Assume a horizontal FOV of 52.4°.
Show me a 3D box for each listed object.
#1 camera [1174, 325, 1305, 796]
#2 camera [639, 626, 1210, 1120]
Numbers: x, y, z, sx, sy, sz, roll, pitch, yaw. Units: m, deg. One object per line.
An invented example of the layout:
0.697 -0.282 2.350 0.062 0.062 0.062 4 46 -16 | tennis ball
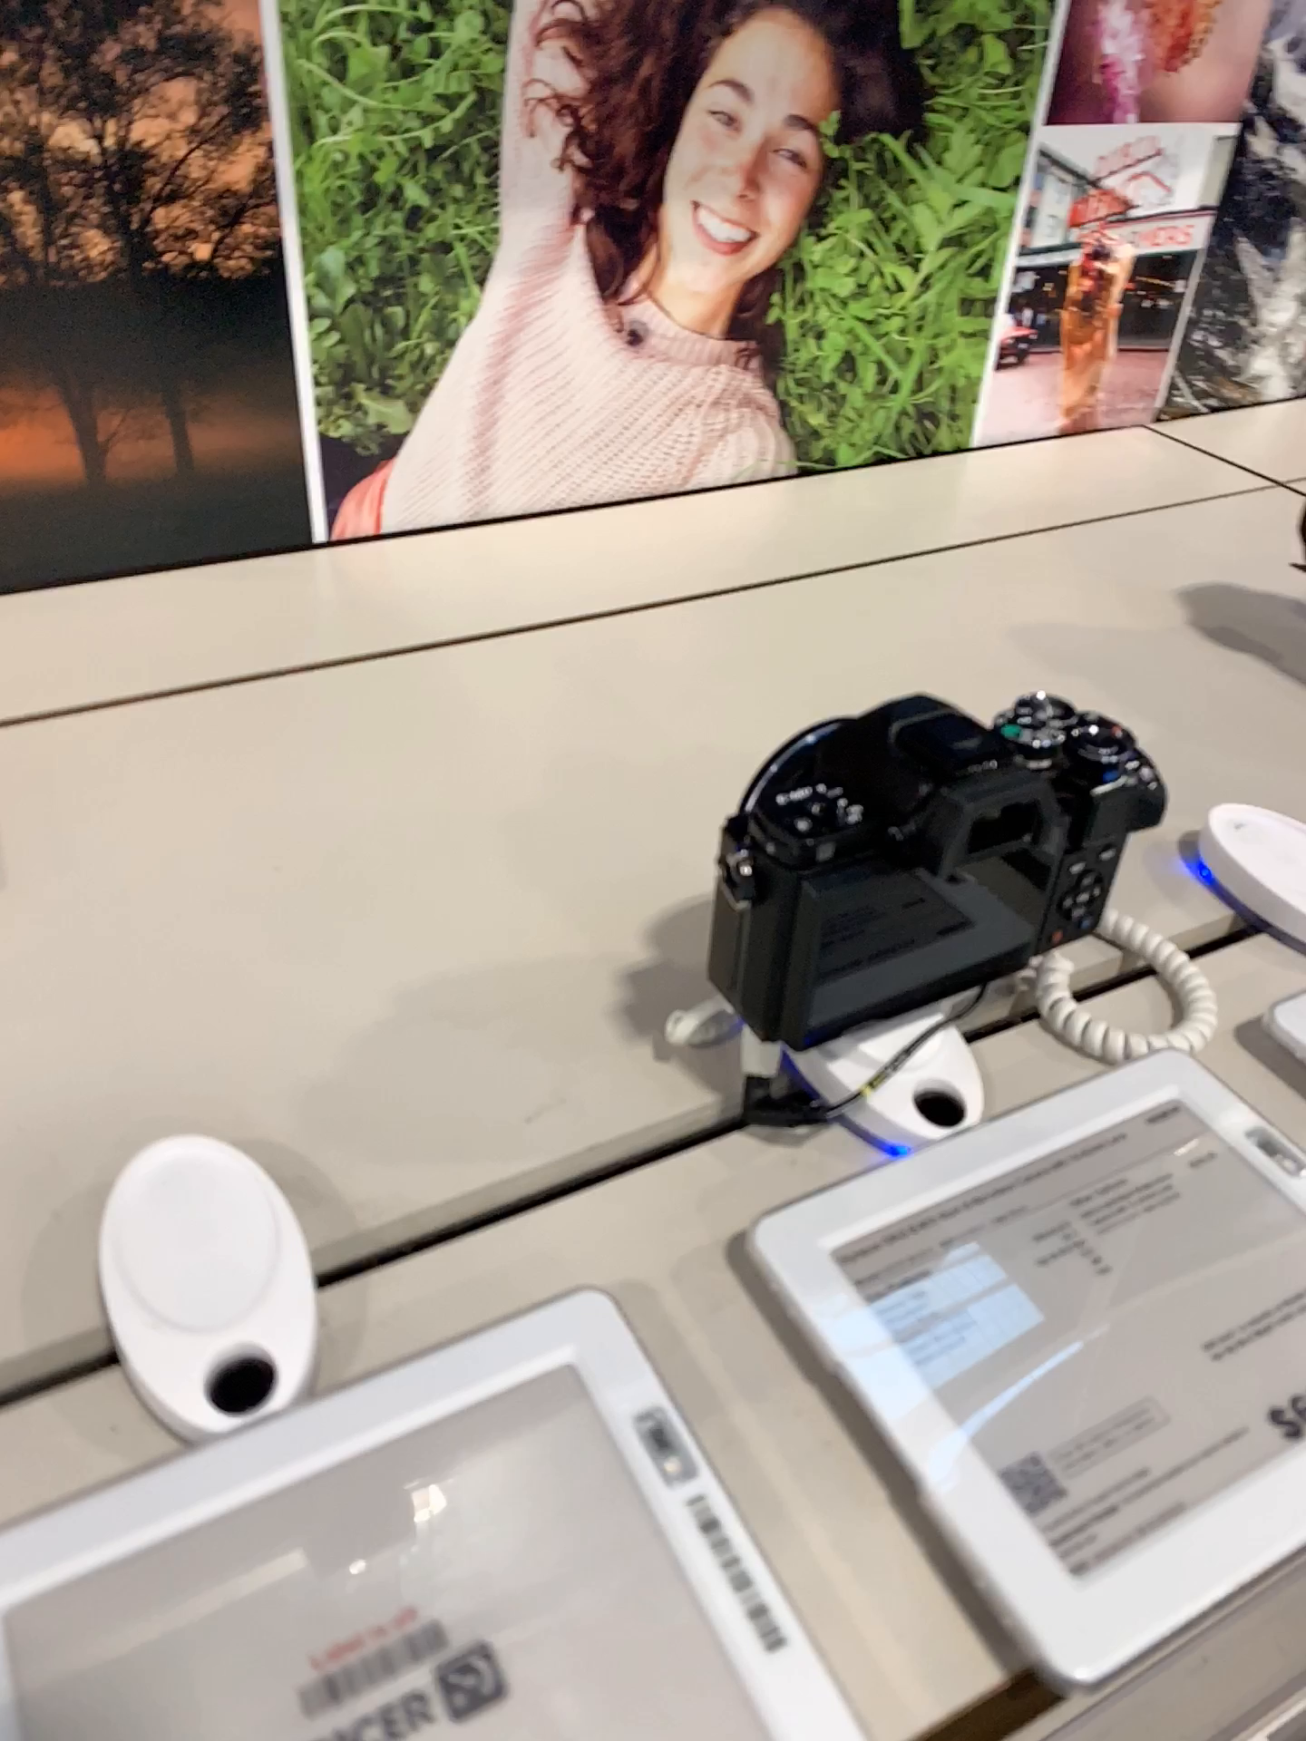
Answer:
0.356 -0.141 0.552 0.140 0.099 0.201 -18 42 -24 | camera
0.071 -0.004 0.370 0.130 0.080 0.070 -18 42 -25 | camera
